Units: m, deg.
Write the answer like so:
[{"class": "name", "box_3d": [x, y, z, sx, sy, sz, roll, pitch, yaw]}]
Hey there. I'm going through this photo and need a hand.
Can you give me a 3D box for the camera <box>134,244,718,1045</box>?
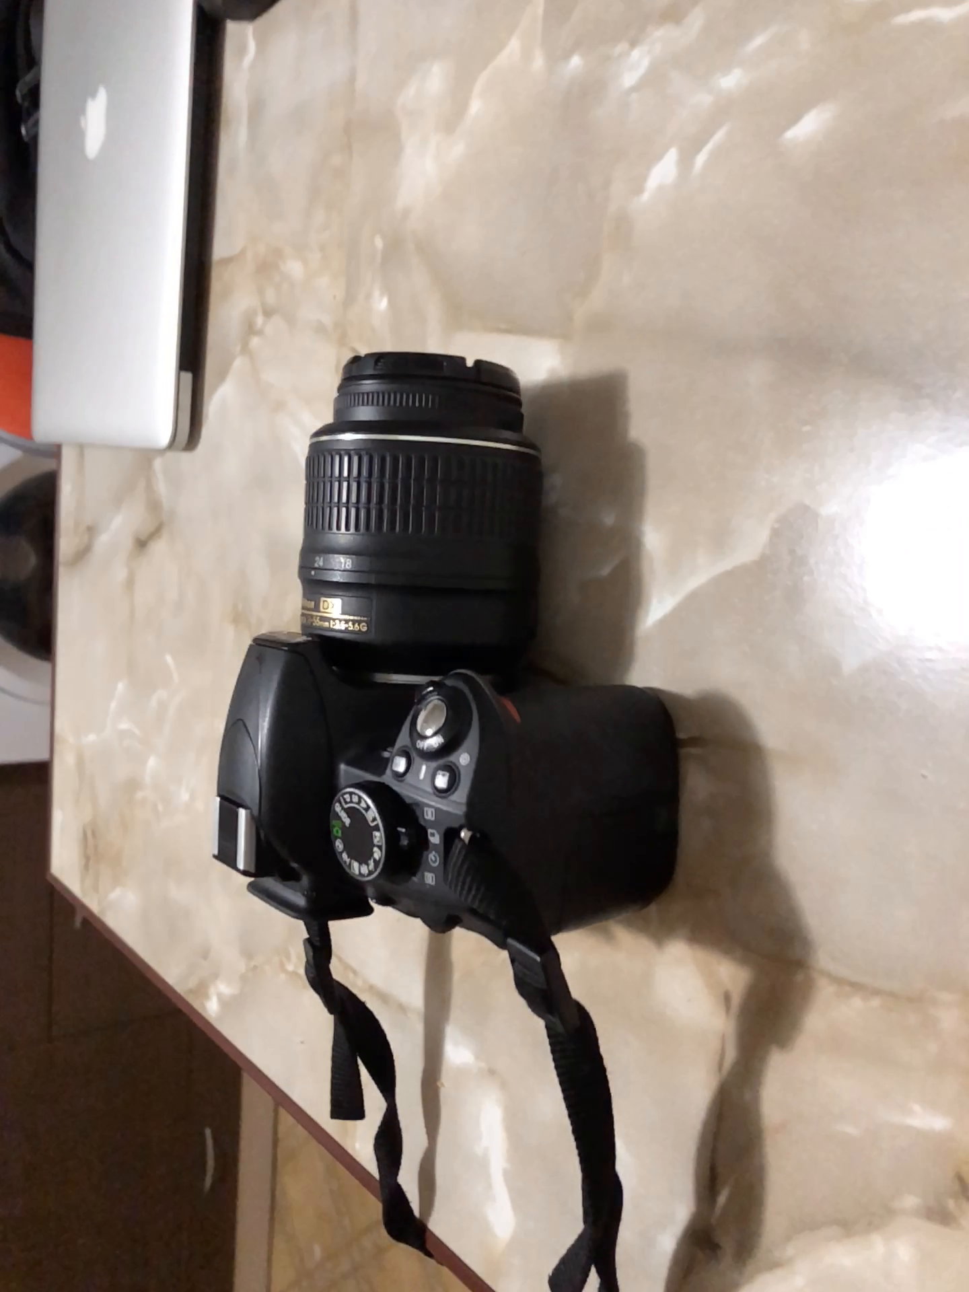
[{"class": "camera", "box_3d": [-0.023, -0.004, 0.293, 0.126, 0.099, 0.160, 7, 96, 52]}]
